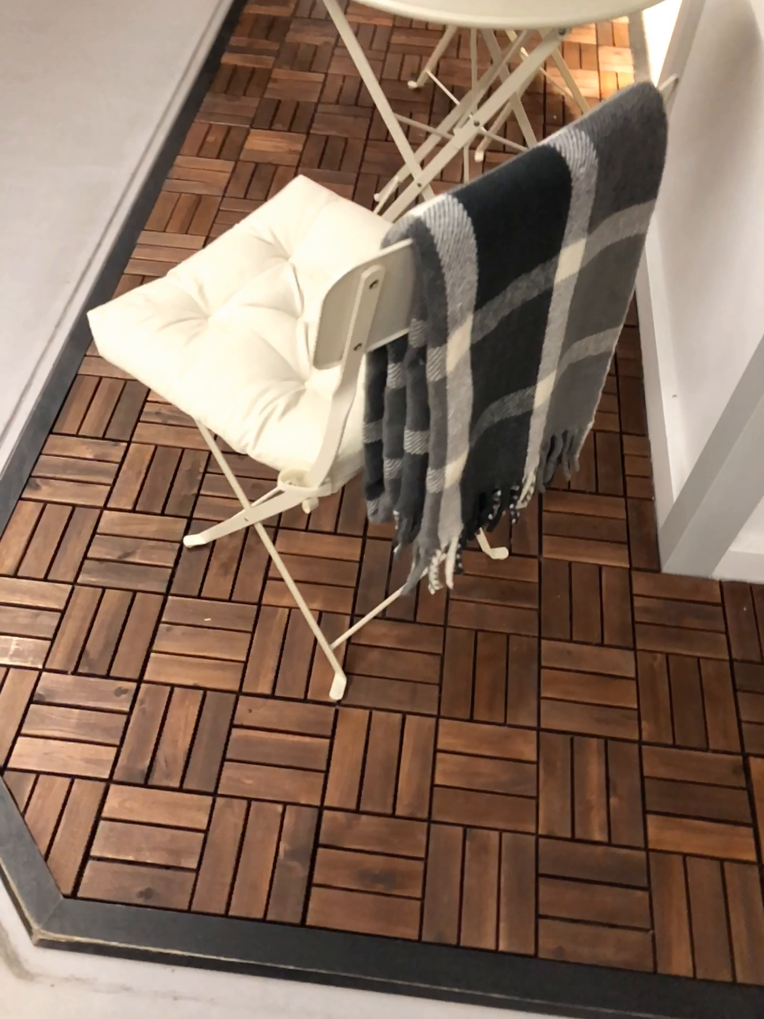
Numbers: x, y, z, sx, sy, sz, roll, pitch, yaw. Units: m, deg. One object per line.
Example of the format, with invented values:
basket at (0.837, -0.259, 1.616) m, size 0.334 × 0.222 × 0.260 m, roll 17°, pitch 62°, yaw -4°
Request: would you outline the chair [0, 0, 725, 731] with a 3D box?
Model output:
chair at (-0.083, -0.217, 0.985) m, size 0.491 × 0.736 × 0.512 m, roll -36°, pitch 63°, yaw -25°
